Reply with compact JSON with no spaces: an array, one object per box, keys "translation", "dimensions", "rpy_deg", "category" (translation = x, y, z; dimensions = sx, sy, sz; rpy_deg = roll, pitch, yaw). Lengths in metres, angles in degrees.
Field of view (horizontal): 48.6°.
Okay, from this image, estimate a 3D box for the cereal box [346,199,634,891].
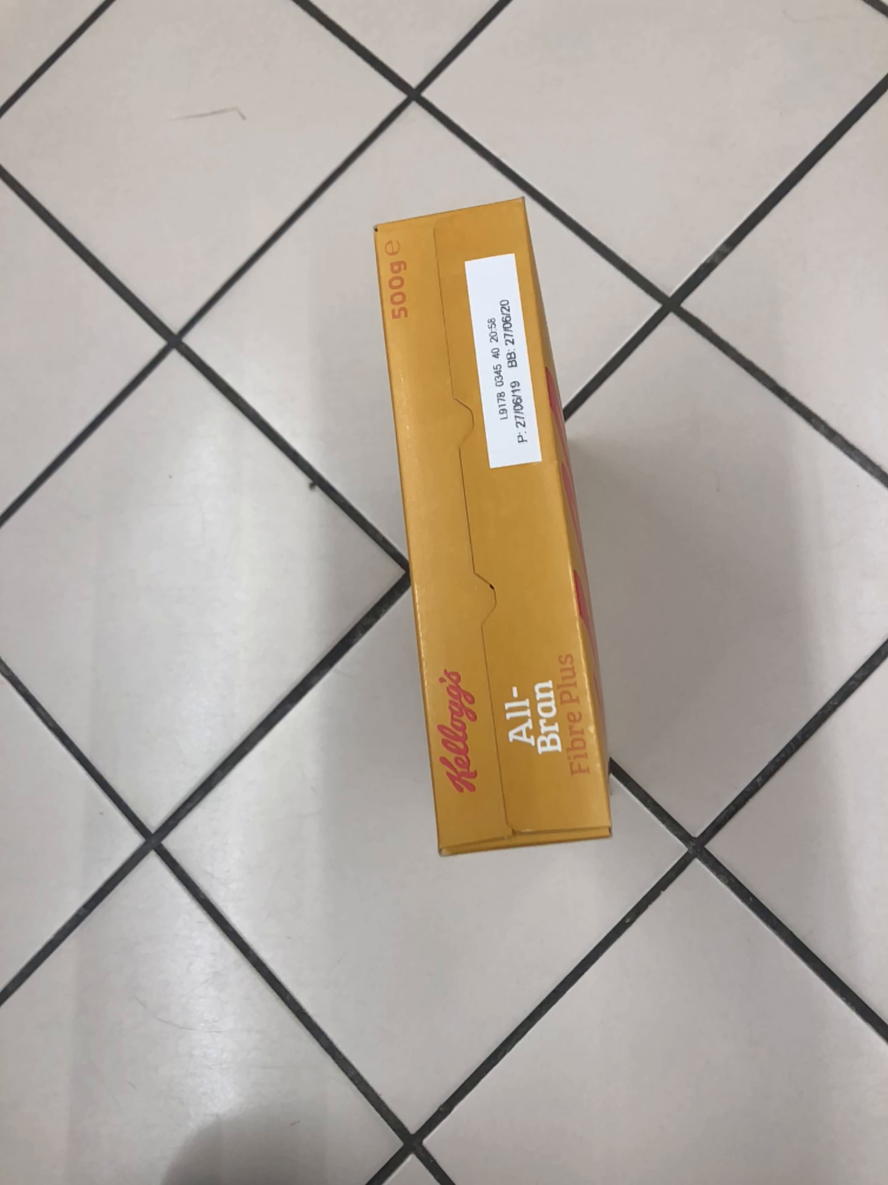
[{"translation":[0.029,0.000,0.392],"dimensions":[0.060,0.240,0.190],"rpy_deg":[-7,81,8],"category":"cereal box"}]
